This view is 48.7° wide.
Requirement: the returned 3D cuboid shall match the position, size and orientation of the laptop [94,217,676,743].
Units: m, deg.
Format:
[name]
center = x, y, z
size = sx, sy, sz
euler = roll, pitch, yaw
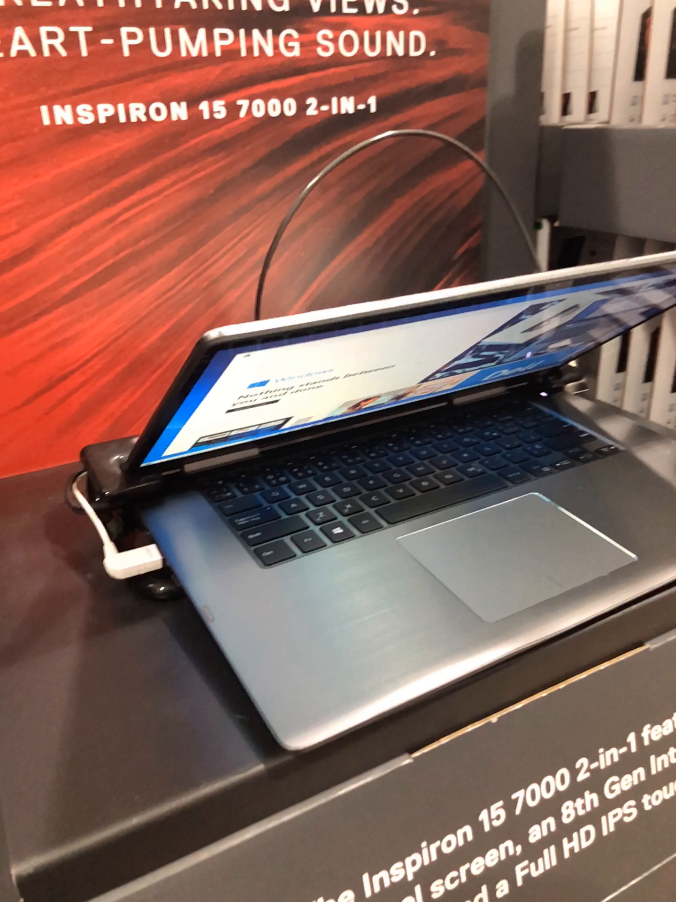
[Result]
[laptop]
center = 0.078, -0.030, 0.429
size = 0.355, 0.137, 0.213
euler = -15, 29, -26
